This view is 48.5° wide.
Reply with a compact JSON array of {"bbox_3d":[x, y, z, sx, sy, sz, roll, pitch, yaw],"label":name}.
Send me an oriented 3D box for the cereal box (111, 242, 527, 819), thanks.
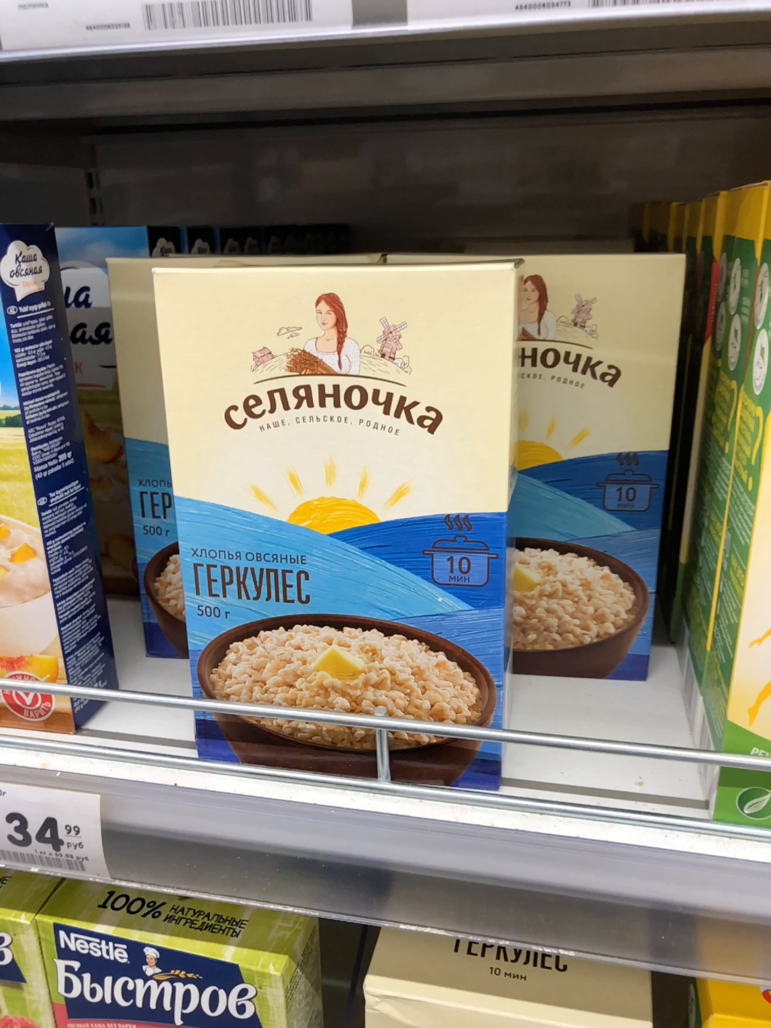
[{"bbox_3d":[-0.017,0.004,0.323,0.130,0.199,0.060,3,19,13],"label":"cereal box"}]
